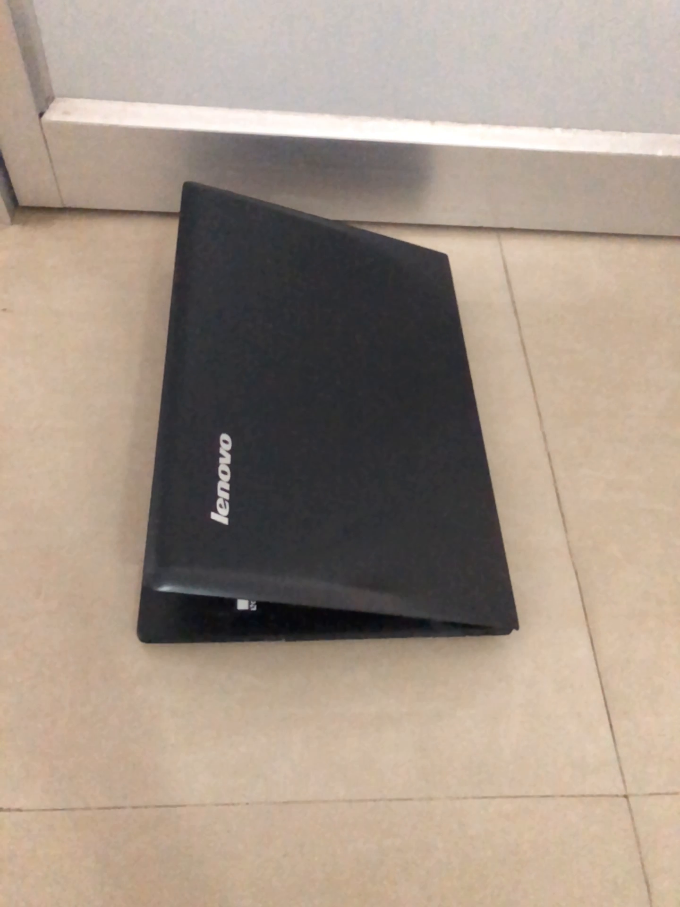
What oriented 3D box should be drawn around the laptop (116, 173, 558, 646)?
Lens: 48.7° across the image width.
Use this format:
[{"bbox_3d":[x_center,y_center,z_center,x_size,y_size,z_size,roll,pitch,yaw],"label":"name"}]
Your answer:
[{"bbox_3d":[-0.011,-0.055,0.577,0.257,0.097,0.368,0,56,-7],"label":"laptop"}]
